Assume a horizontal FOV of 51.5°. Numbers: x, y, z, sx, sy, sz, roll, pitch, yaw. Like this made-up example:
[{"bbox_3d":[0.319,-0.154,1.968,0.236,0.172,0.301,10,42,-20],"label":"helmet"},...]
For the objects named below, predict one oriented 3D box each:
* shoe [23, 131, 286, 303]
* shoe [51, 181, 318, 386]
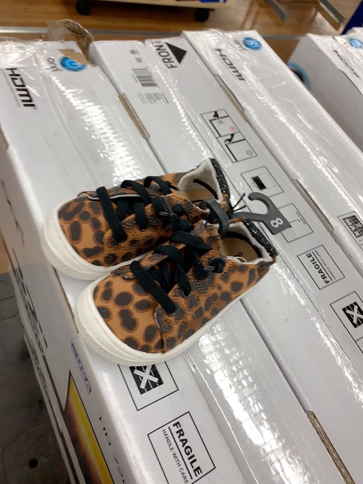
[{"bbox_3d":[-0.016,-0.027,0.280,0.170,0.040,0.080,-18,66,-28],"label":"shoe"},{"bbox_3d":[0.006,0.019,0.268,0.170,0.040,0.080,-21,67,-29],"label":"shoe"}]
